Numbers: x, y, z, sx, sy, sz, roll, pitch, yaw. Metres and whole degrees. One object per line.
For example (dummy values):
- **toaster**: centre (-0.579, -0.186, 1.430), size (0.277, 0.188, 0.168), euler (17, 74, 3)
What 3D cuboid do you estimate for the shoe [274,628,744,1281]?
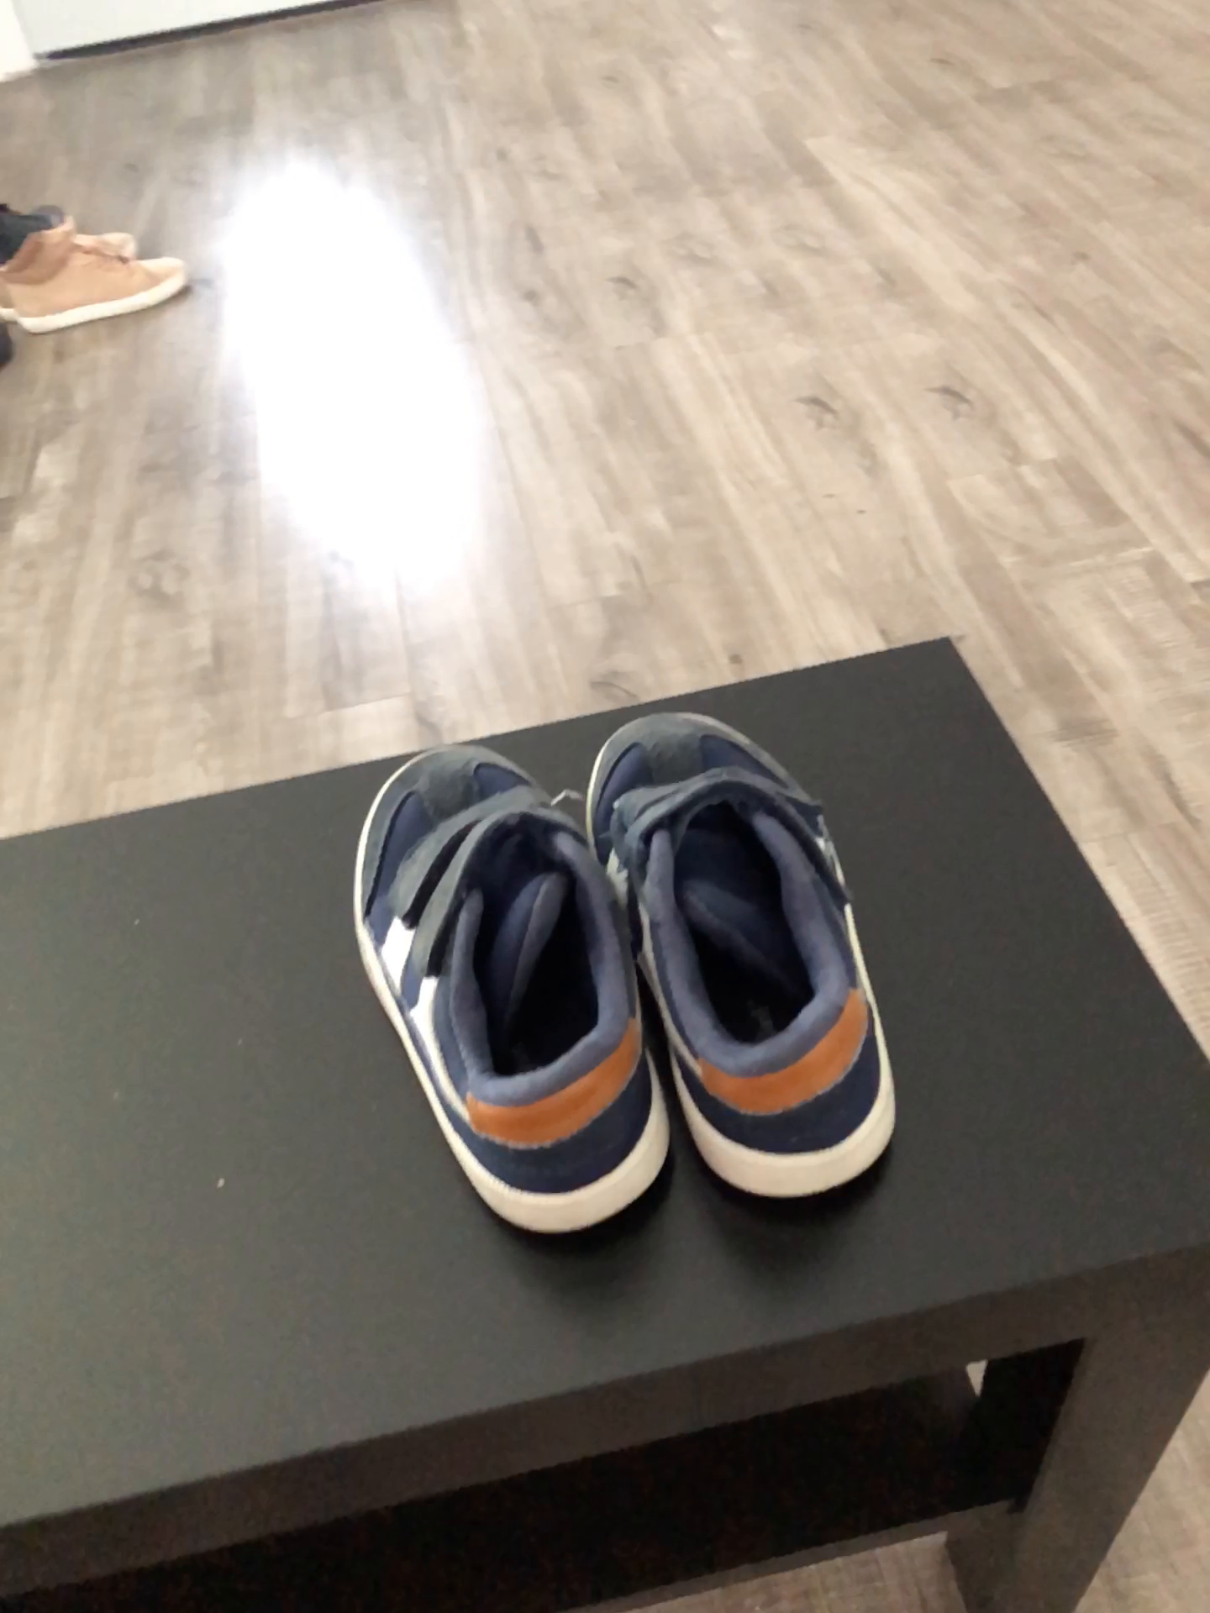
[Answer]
- **shoe**: centre (-0.036, 0.034, 0.414), size (0.088, 0.068, 0.185), euler (-18, 45, -10)

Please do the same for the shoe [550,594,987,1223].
- **shoe**: centre (0.041, 0.021, 0.415), size (0.082, 0.068, 0.185), euler (-11, 44, -3)
